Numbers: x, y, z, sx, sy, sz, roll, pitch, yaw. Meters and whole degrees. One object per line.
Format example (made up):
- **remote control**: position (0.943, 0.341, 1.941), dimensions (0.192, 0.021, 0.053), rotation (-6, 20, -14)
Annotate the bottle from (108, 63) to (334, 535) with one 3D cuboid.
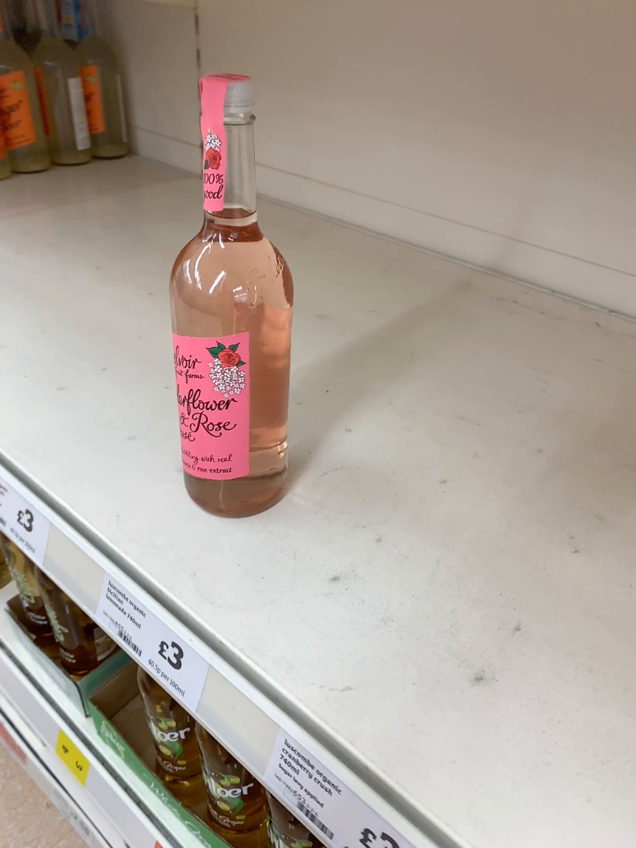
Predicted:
- **bottle**: position (-0.059, -0.071, 0.423), dimensions (0.086, 0.274, 0.087), rotation (2, 35, -2)
